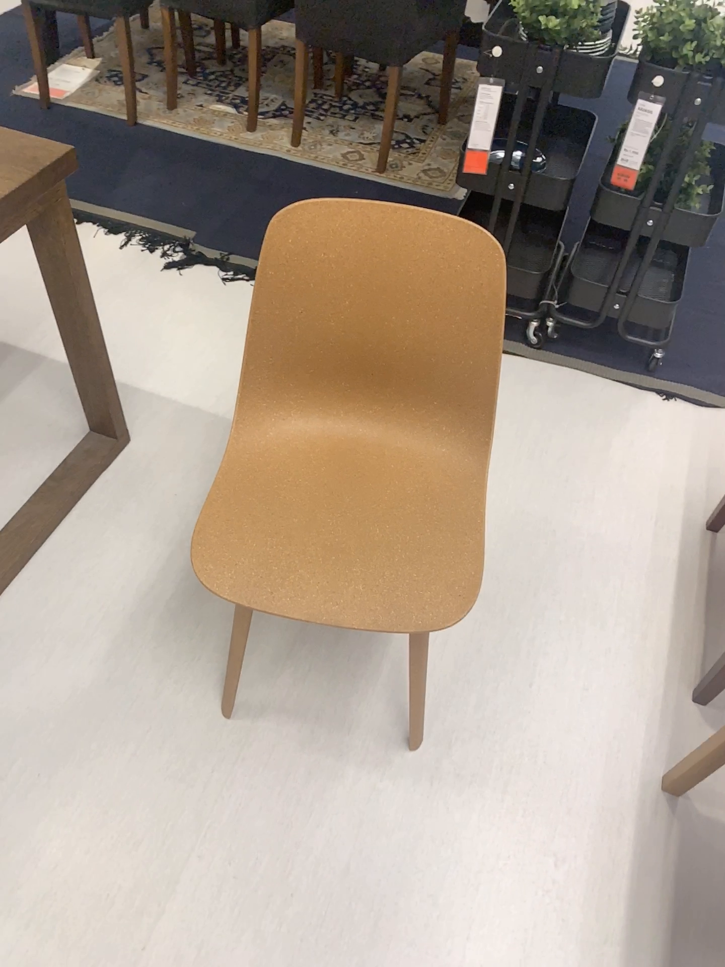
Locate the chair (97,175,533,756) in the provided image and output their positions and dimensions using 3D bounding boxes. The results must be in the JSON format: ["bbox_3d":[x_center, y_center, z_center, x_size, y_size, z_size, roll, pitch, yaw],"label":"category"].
[{"bbox_3d":[-0.034,0.008,1.176,0.440,0.718,0.522,9,50,3],"label":"chair"}]
